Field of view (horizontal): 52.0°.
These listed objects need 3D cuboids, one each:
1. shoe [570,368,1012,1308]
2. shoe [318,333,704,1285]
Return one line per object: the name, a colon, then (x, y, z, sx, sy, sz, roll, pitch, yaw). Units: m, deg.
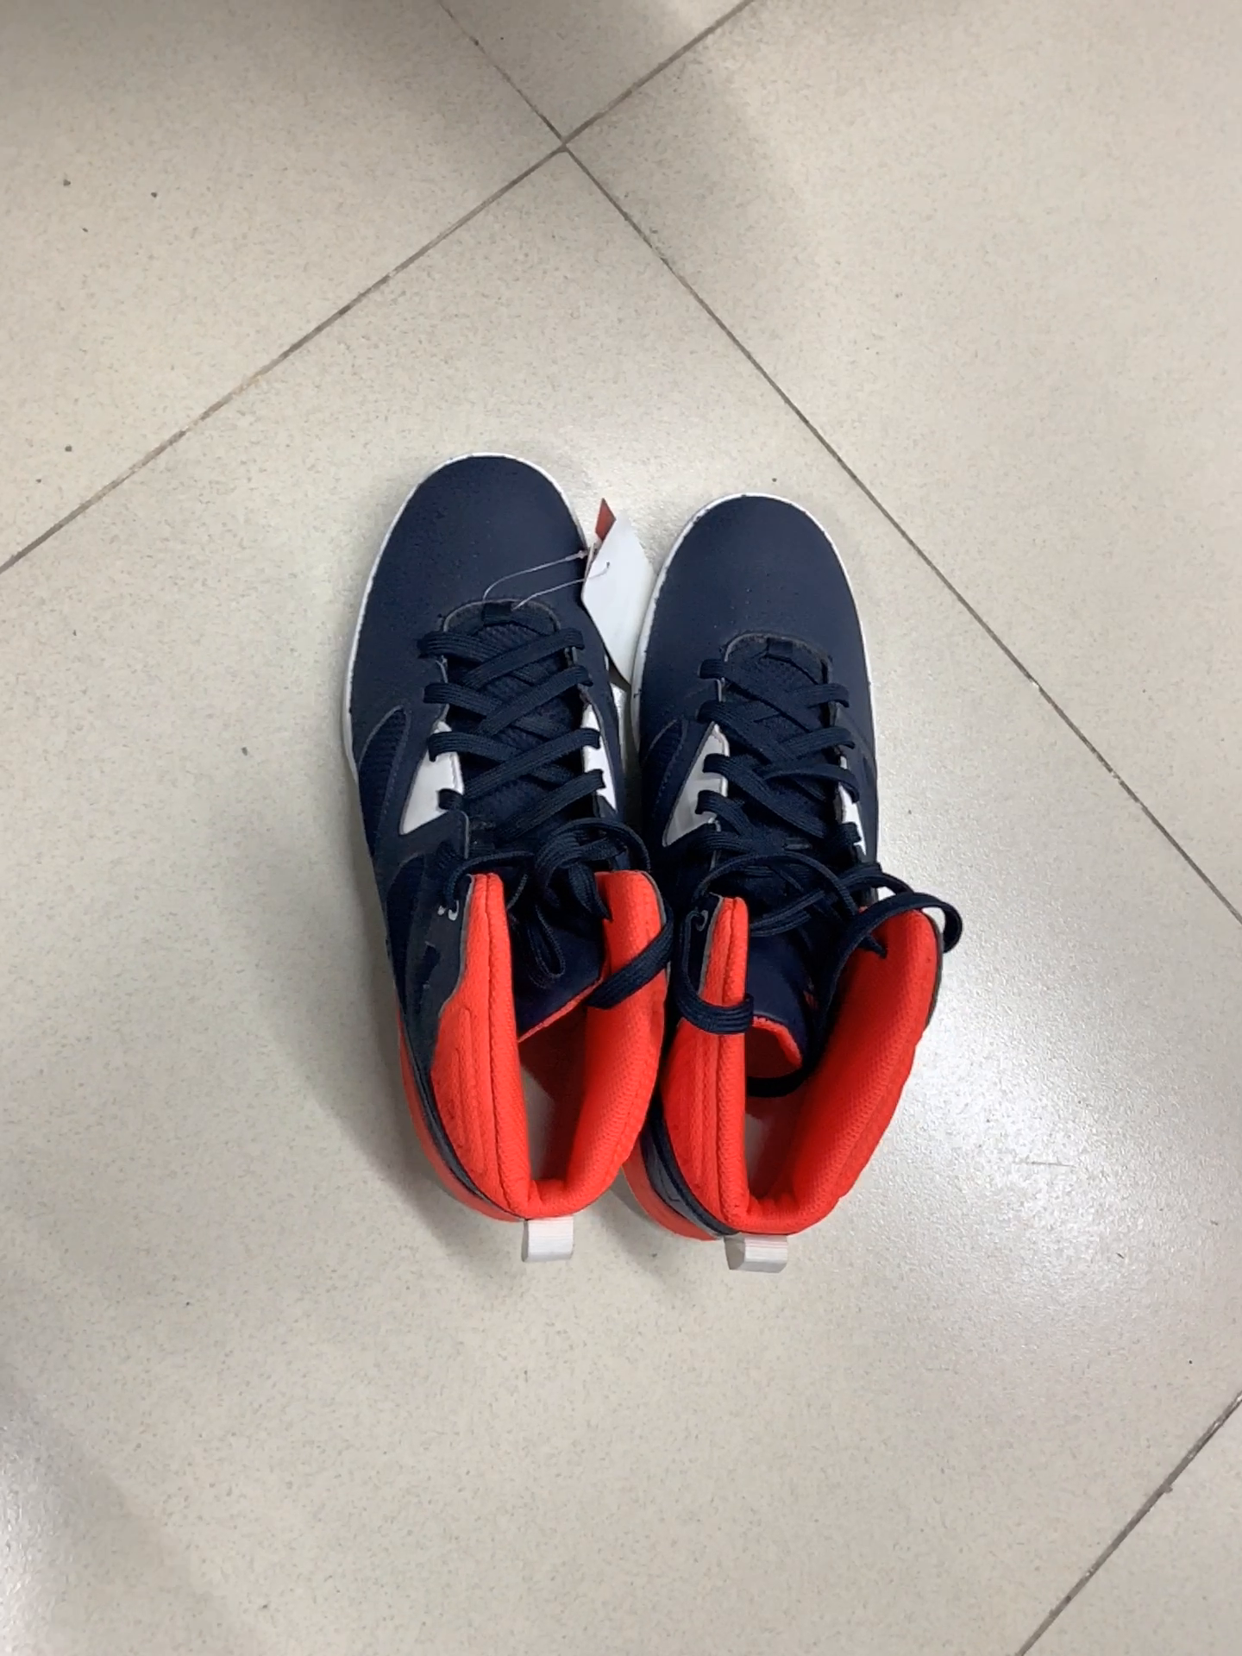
shoe: (0.056, 0.006, 0.463, 0.110, 0.120, 0.290, 6, 84, -8)
shoe: (-0.042, -0.007, 0.443, 0.110, 0.100, 0.290, -1, 85, -8)
